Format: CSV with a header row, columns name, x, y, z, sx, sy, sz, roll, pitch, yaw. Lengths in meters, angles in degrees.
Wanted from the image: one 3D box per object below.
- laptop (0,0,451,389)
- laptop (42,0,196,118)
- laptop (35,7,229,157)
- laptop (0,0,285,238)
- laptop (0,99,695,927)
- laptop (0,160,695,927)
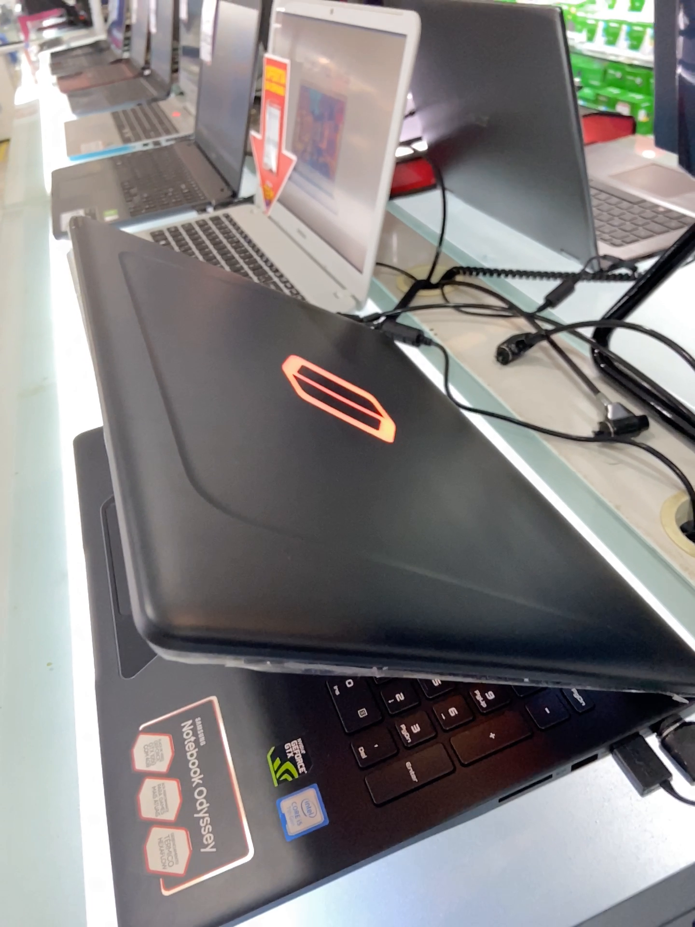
name,x,y,z,sx,sy,sz,roll,pitch,yaw
laptop,-0.153,-0.321,0.752,0.345,0.223,0.433,-20,37,-11
laptop,-0.641,-1.143,2.003,0.319,0.205,0.338,-17,40,-9
laptop,-0.476,-0.846,1.574,0.337,0.180,0.332,-19,40,-12
laptop,-0.327,-0.564,1.113,0.341,0.227,0.338,-19,40,-12
laptop,0.145,0.180,0.028,0.307,0.234,0.414,-19,39,-12
laptop,-0.037,-0.017,0.384,0.258,0.152,0.369,-18,38,-11
